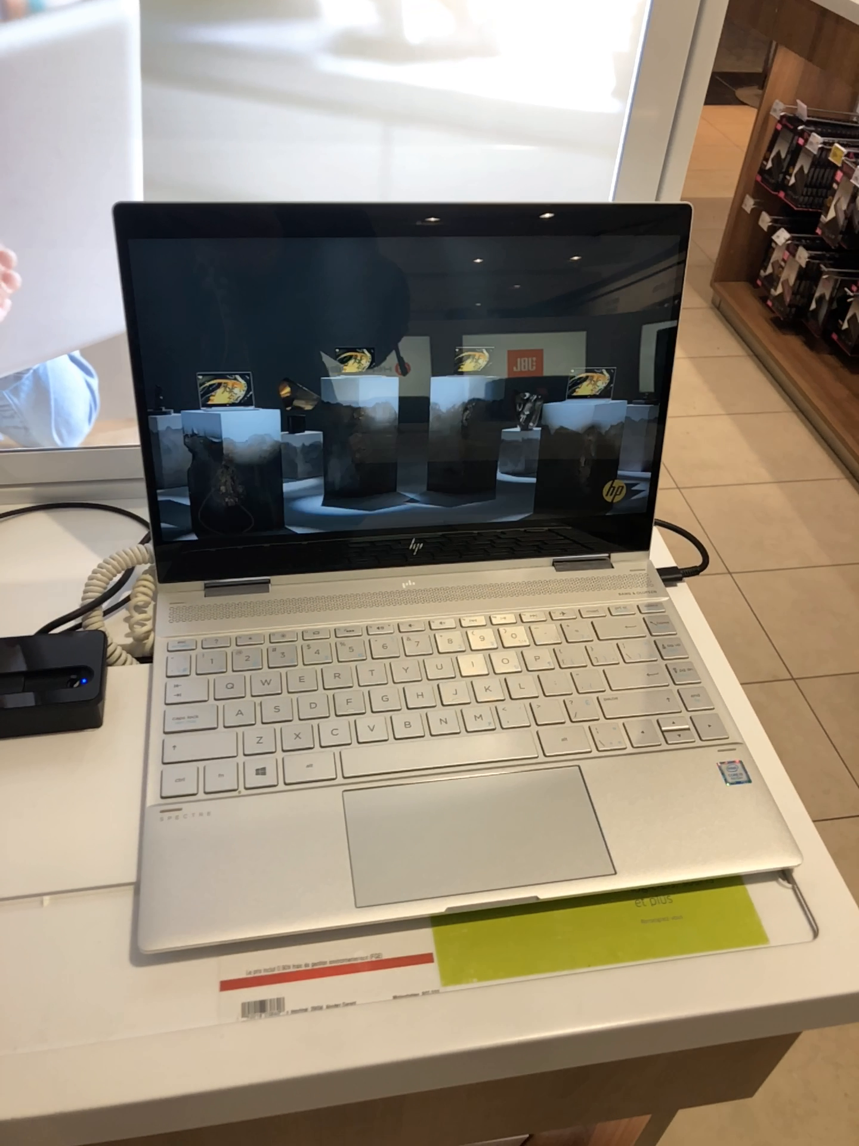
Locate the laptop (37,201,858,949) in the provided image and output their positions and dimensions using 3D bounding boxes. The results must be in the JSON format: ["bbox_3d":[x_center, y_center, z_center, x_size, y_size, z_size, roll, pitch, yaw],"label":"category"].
[{"bbox_3d":[0.011,-0.023,0.452,0.299,0.193,0.283,-4,43,-9],"label":"laptop"}]
